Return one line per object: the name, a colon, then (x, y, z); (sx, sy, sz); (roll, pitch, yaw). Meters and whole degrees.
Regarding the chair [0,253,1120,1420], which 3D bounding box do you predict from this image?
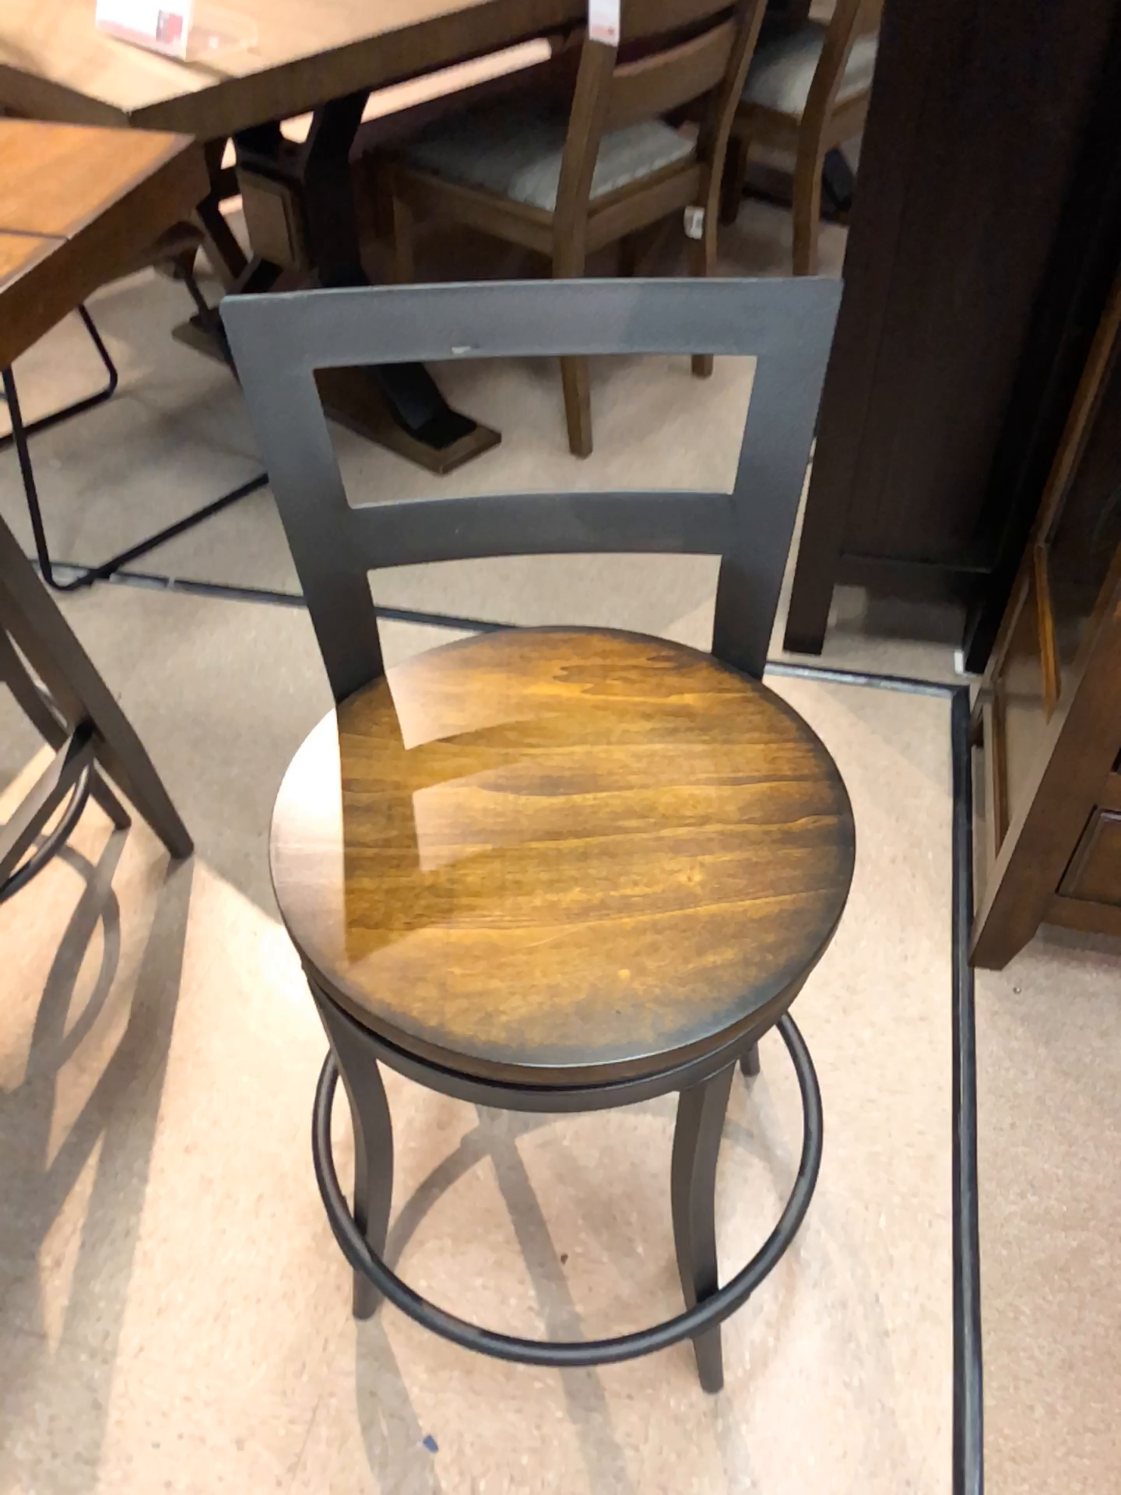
chair: (-0.012, 0.123, 0.940); (0.490, 0.806, 0.463); (-2, 45, -1)
